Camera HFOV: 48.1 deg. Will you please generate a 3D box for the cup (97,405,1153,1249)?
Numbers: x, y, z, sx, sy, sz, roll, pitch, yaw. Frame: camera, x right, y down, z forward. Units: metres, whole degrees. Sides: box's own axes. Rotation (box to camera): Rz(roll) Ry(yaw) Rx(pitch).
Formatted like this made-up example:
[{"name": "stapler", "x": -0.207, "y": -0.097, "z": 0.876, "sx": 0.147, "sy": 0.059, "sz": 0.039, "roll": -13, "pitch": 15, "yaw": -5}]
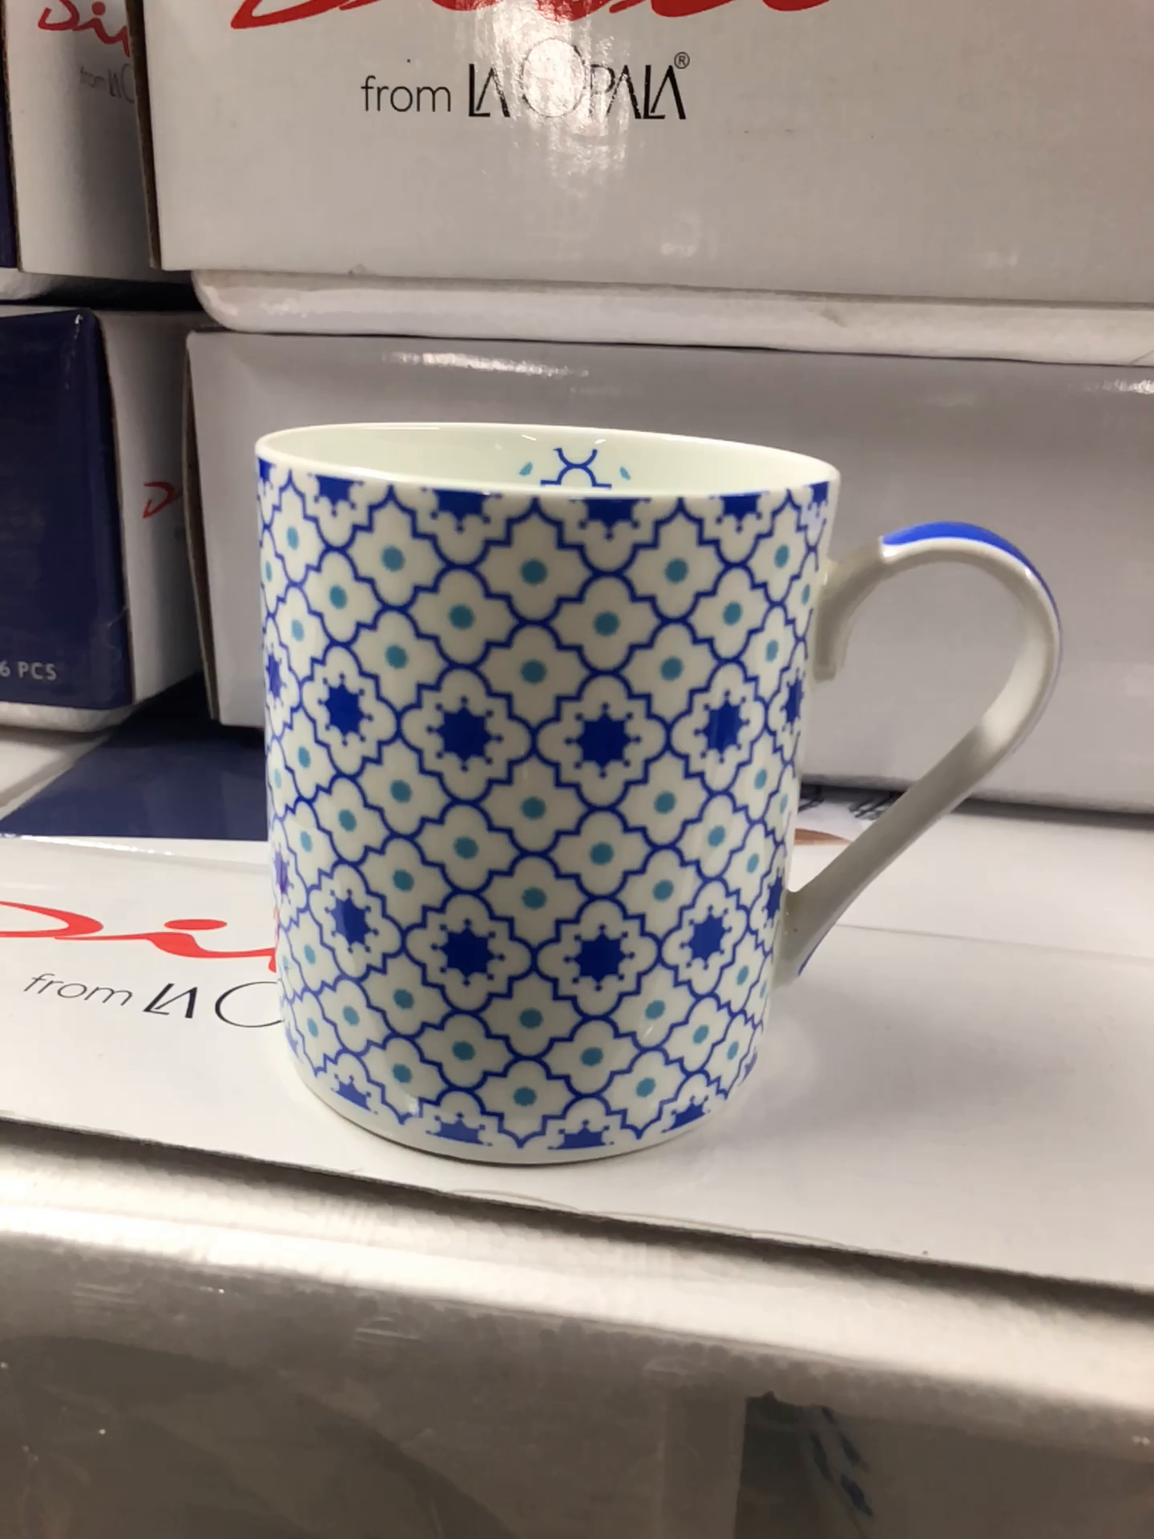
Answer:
[{"name": "cup", "x": 0.006, "y": 0.000, "z": 0.166, "sx": 0.100, "sy": 0.080, "sz": 0.070, "roll": 4, "pitch": 21, "yaw": 5}]
